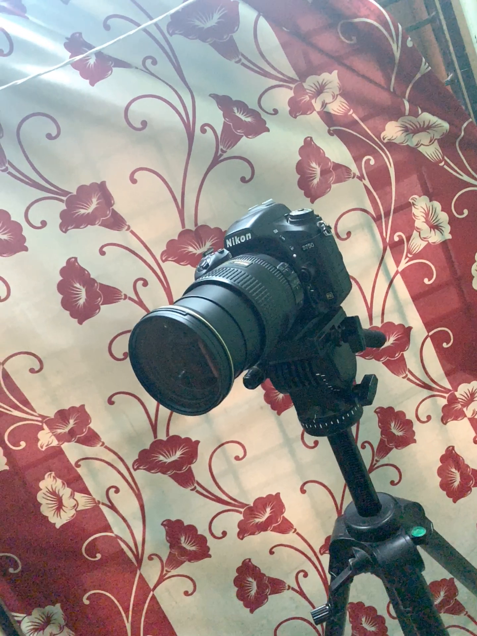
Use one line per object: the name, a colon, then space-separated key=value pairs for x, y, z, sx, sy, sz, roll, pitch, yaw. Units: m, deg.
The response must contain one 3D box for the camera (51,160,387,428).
camera: x=-0.004 y=-0.022 z=0.385 sx=0.172 sy=0.122 sz=0.170 roll=-16 pitch=12 yaw=33
